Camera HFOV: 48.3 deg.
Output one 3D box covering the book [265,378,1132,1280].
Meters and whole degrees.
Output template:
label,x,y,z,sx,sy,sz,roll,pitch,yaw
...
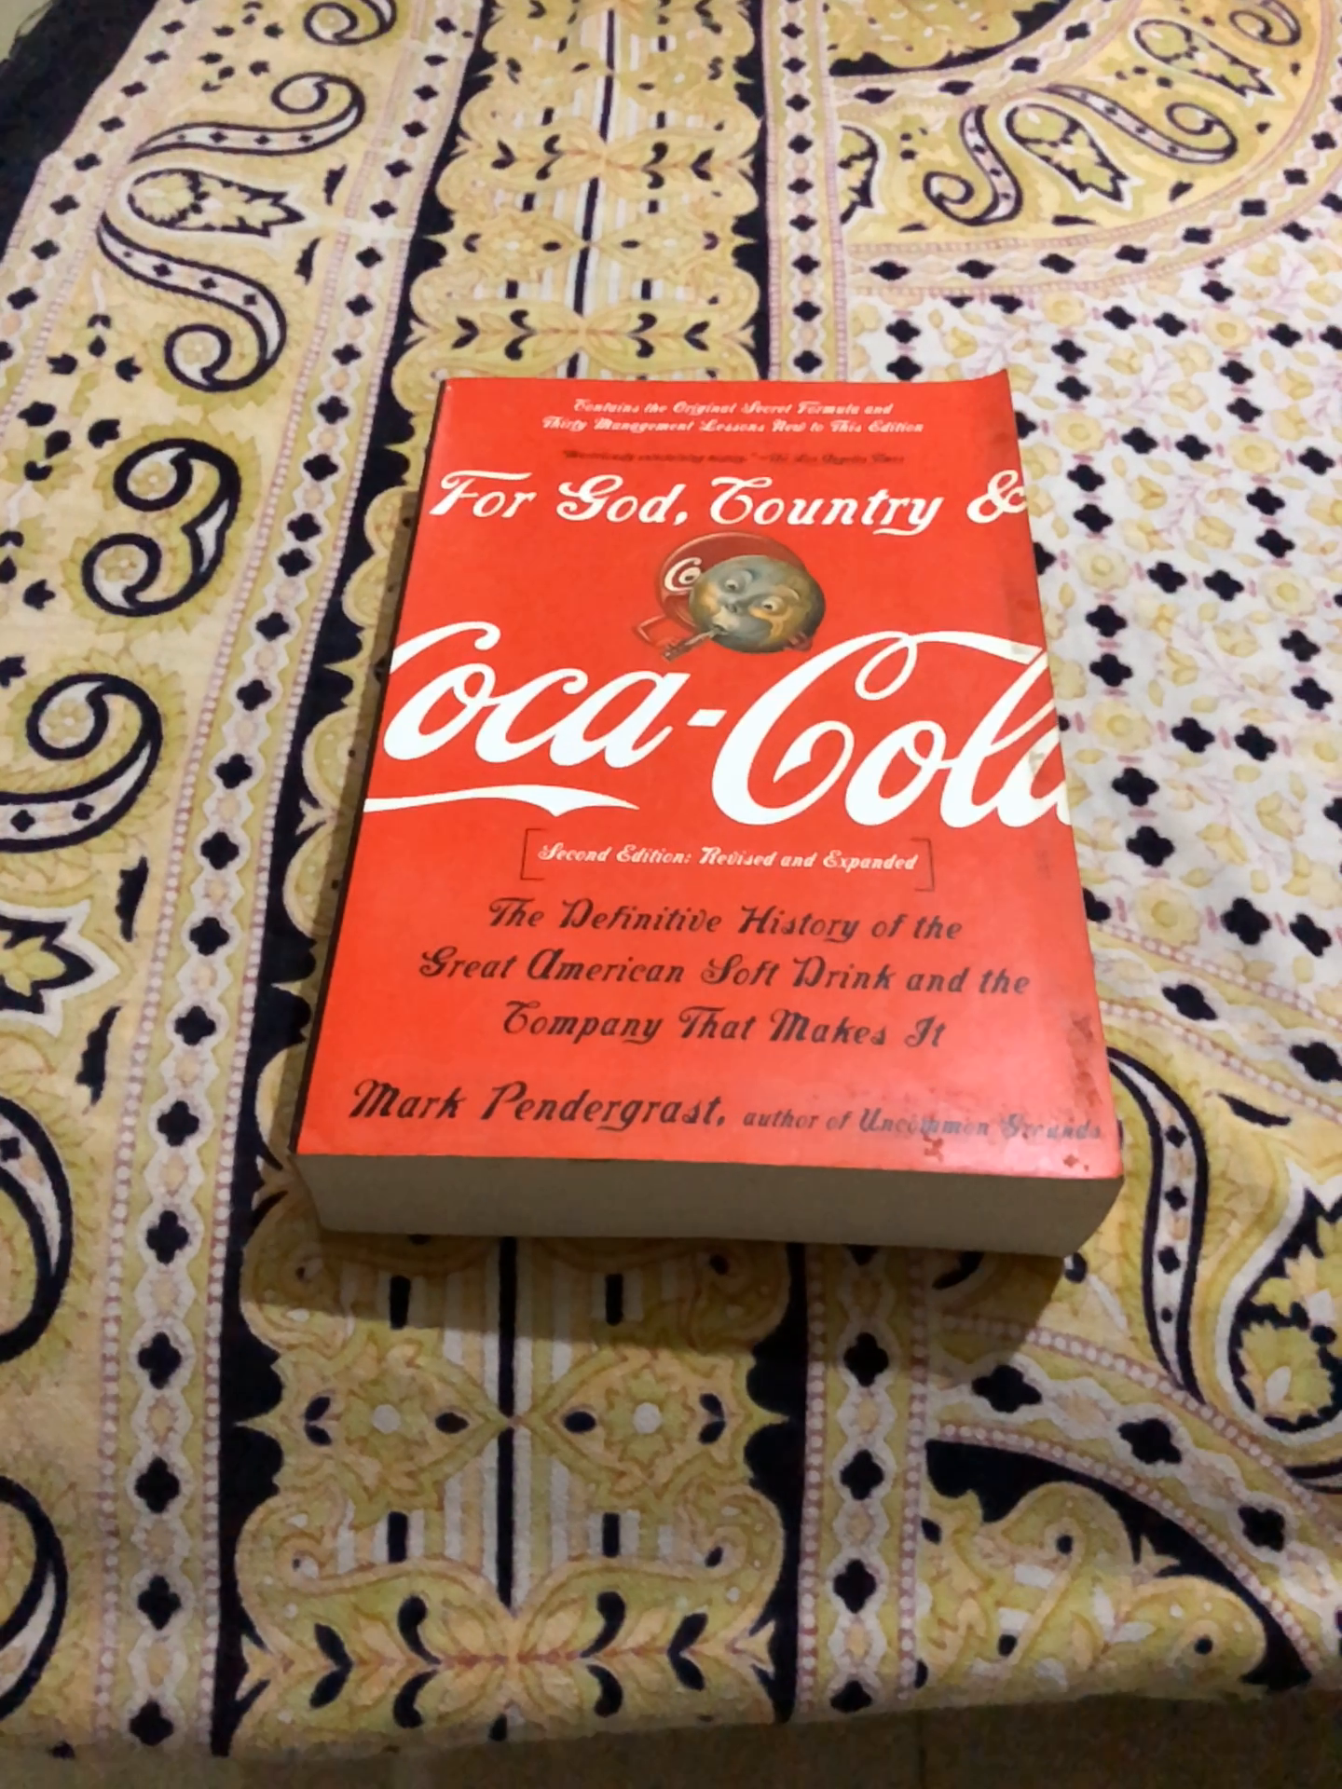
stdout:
label,x,y,z,sx,sy,sz,roll,pitch,yaw
book,0.008,-0.030,0.361,0.160,0.050,0.231,1,56,1
